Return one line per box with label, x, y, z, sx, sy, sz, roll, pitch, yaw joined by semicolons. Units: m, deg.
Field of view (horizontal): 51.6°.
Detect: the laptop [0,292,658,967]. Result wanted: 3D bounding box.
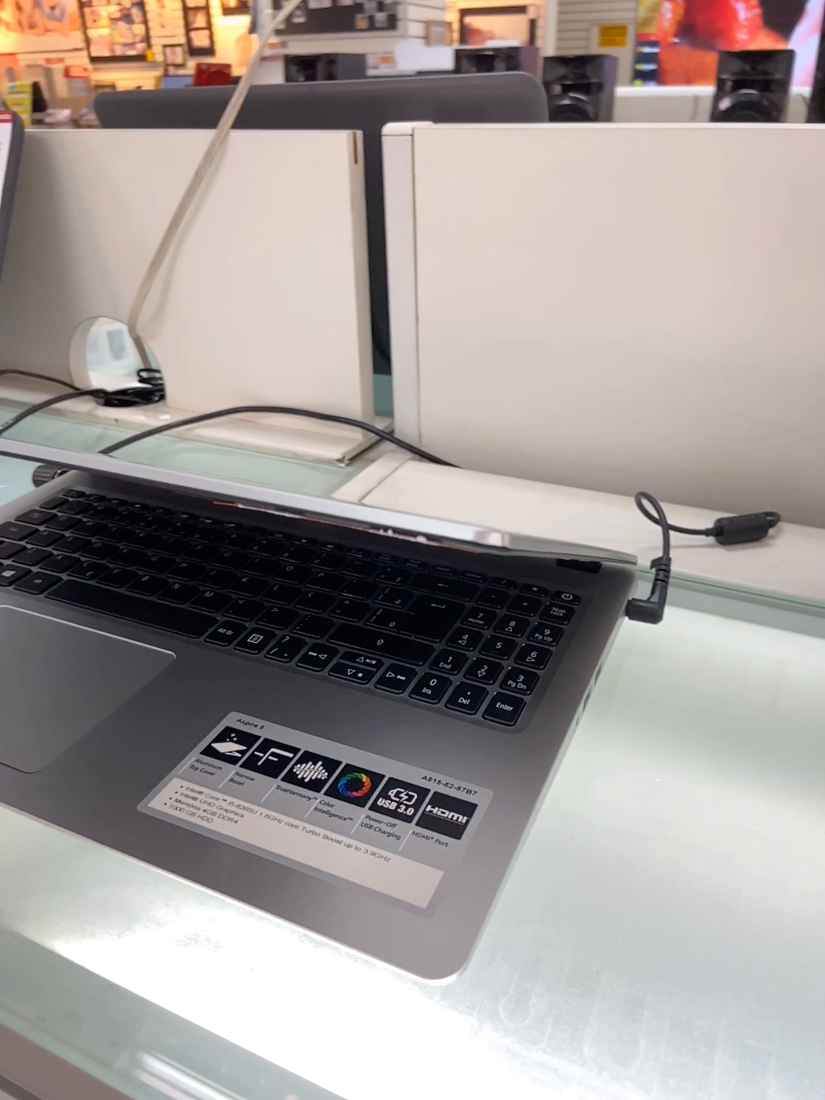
laptop;-0.108;-0.020;0.377;0.364;0.116;0.246;11;30;22
